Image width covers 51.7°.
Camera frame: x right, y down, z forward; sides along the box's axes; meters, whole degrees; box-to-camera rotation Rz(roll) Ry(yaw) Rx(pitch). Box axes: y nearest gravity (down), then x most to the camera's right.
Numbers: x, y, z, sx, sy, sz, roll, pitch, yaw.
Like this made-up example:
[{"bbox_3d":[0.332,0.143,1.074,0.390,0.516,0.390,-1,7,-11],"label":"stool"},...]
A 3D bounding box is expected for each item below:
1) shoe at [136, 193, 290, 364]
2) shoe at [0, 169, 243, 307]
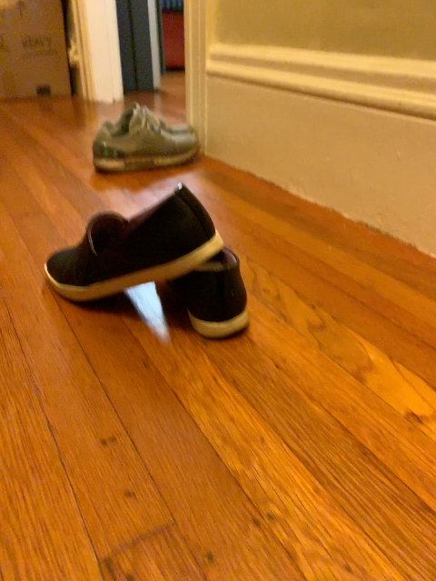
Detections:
[{"bbox_3d":[-0.022,-0.034,0.536,0.100,0.080,0.261,-9,32,-17],"label":"shoe"},{"bbox_3d":[-0.113,-0.051,0.487,0.250,0.080,0.100,-7,22,32],"label":"shoe"}]
